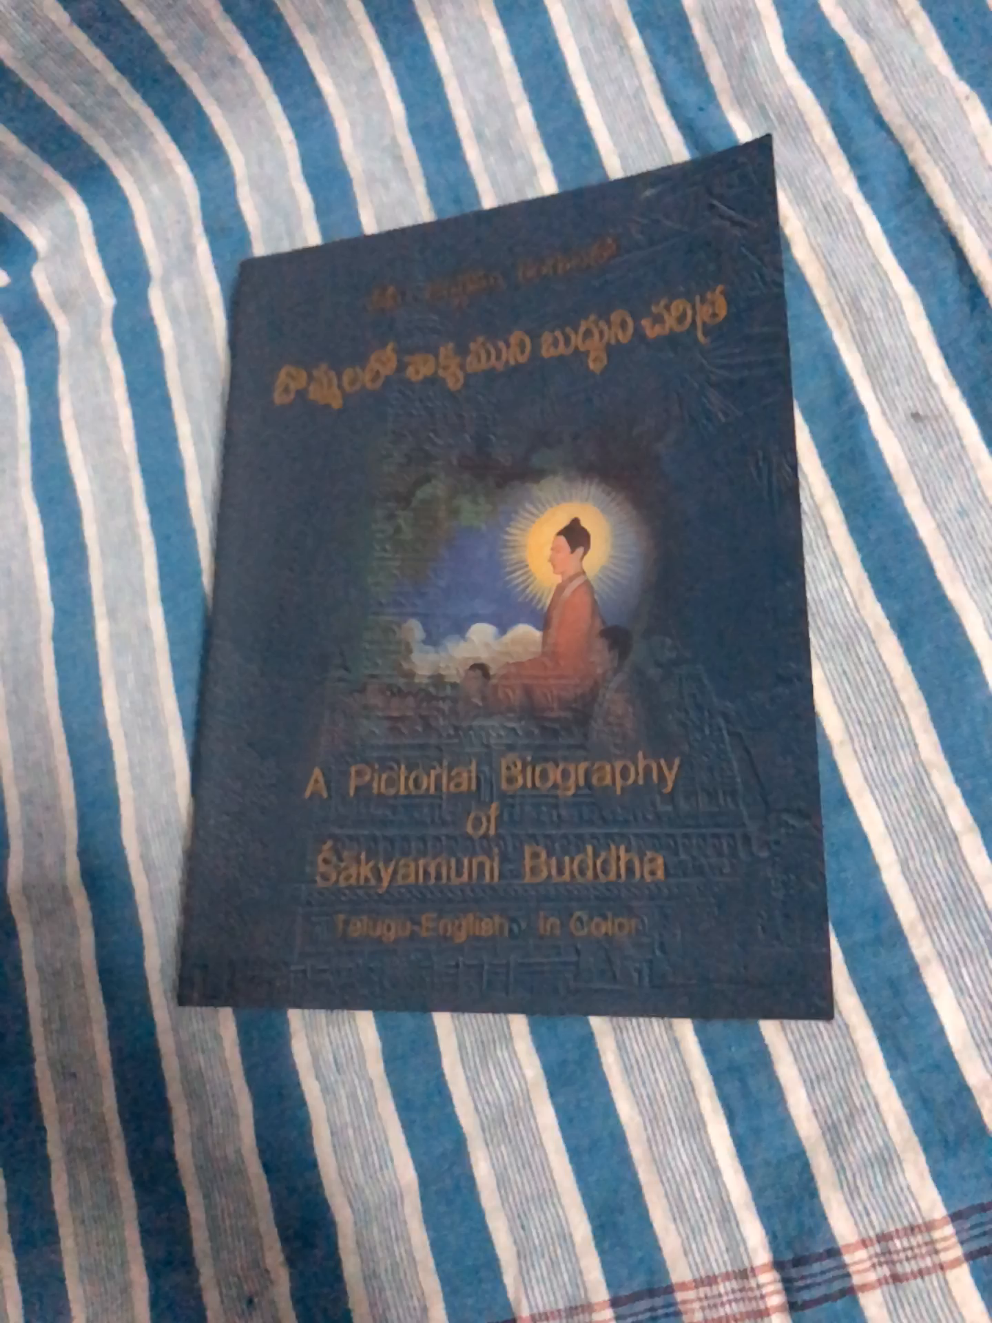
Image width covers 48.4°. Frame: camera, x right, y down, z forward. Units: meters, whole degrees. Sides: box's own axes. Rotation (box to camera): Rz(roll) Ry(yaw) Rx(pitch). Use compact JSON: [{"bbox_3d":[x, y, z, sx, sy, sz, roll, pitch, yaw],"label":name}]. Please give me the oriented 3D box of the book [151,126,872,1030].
[{"bbox_3d":[-0.001,-0.022,0.288,0.170,0.020,0.220,-5,72,19],"label":"book"}]
